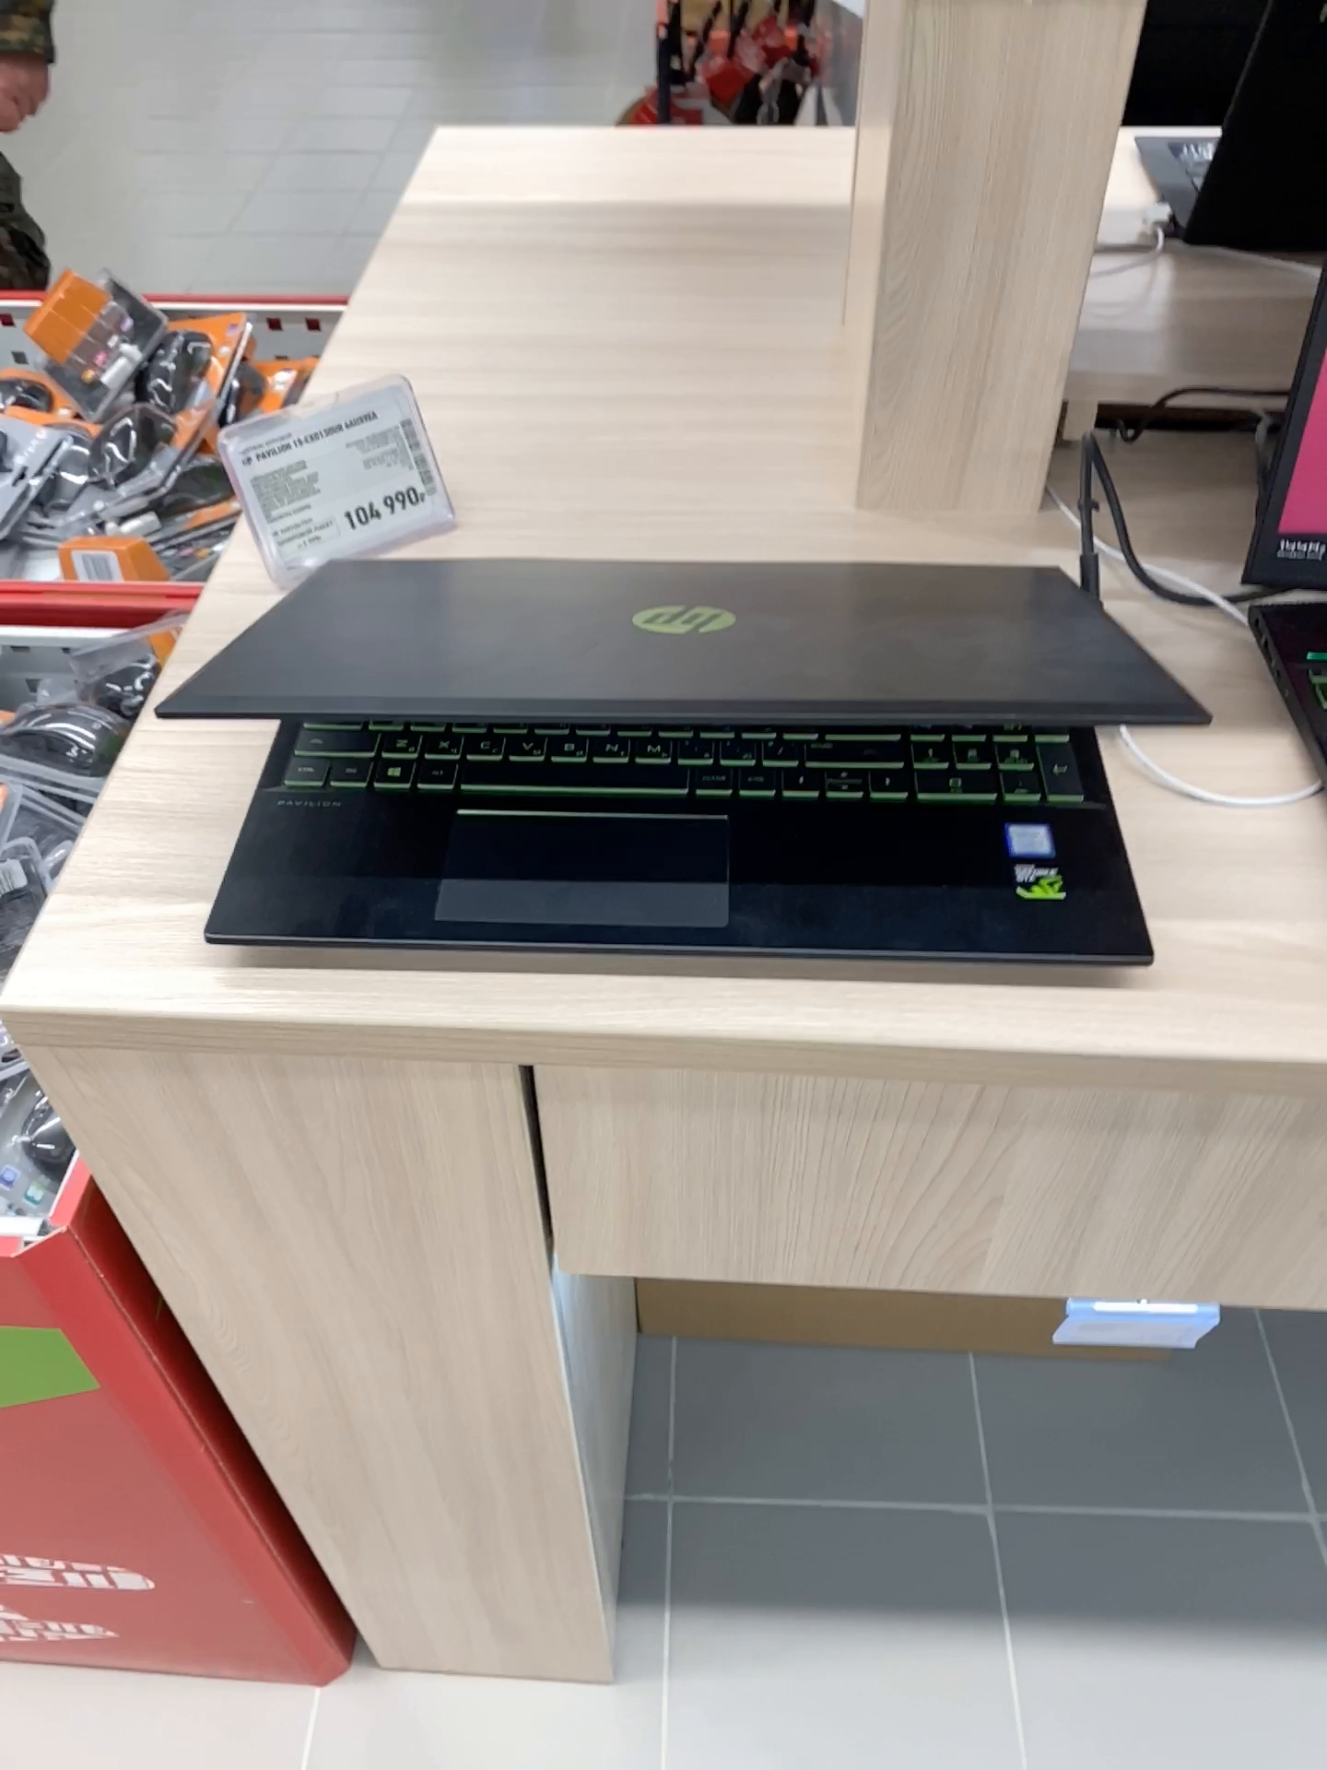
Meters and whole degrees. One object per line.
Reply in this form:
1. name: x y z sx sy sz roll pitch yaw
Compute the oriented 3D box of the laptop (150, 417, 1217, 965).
1. laptop: 0.010 -0.095 0.577 0.365 0.086 0.242 2 47 2
